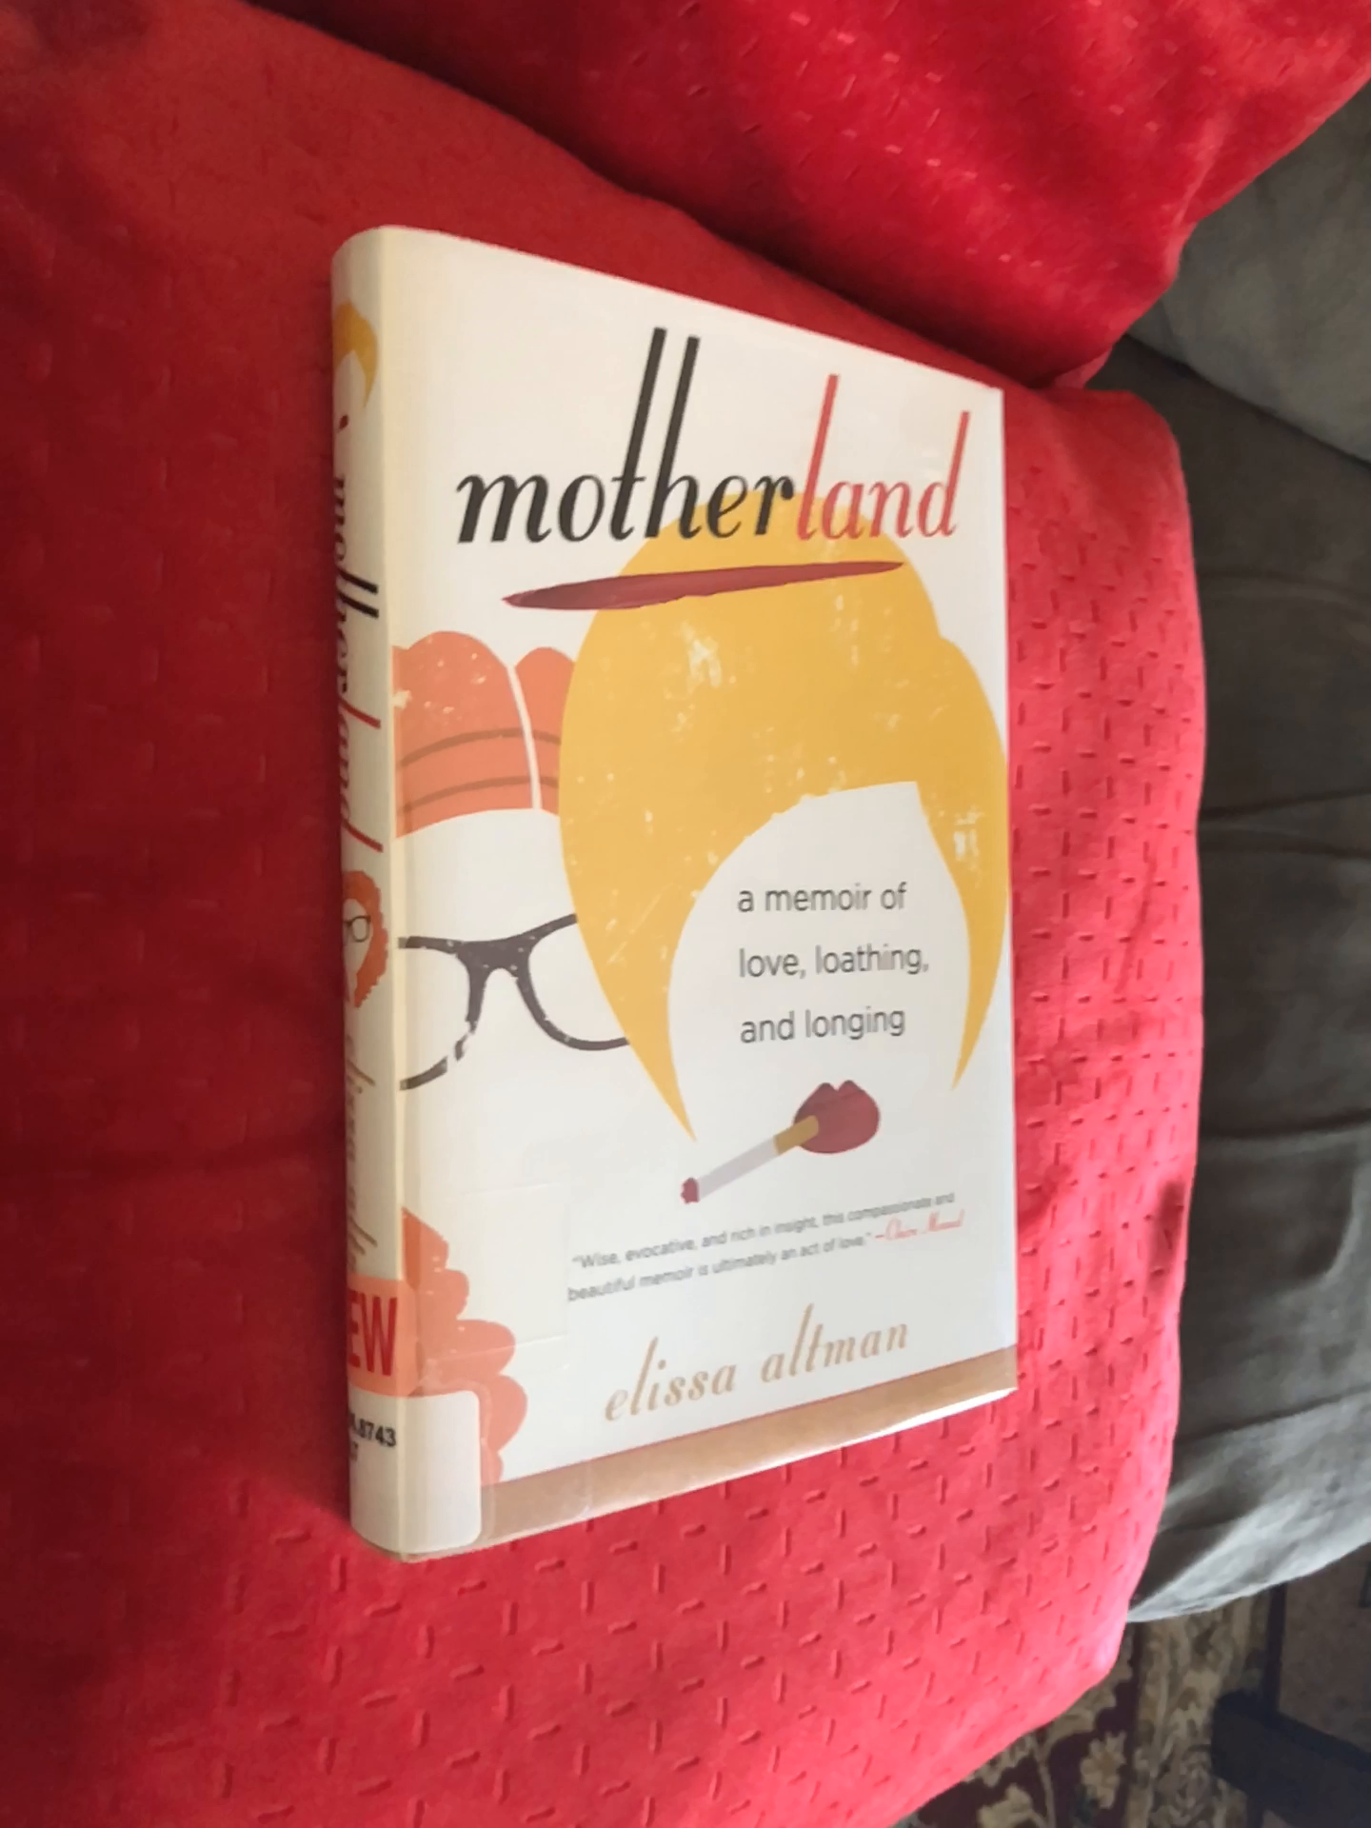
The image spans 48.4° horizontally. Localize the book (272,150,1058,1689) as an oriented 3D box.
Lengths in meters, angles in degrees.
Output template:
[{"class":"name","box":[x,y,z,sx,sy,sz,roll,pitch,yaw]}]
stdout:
[{"class":"book","box":[0.004,0.001,0.268,0.141,0.040,0.210,-1,91,-39]}]
